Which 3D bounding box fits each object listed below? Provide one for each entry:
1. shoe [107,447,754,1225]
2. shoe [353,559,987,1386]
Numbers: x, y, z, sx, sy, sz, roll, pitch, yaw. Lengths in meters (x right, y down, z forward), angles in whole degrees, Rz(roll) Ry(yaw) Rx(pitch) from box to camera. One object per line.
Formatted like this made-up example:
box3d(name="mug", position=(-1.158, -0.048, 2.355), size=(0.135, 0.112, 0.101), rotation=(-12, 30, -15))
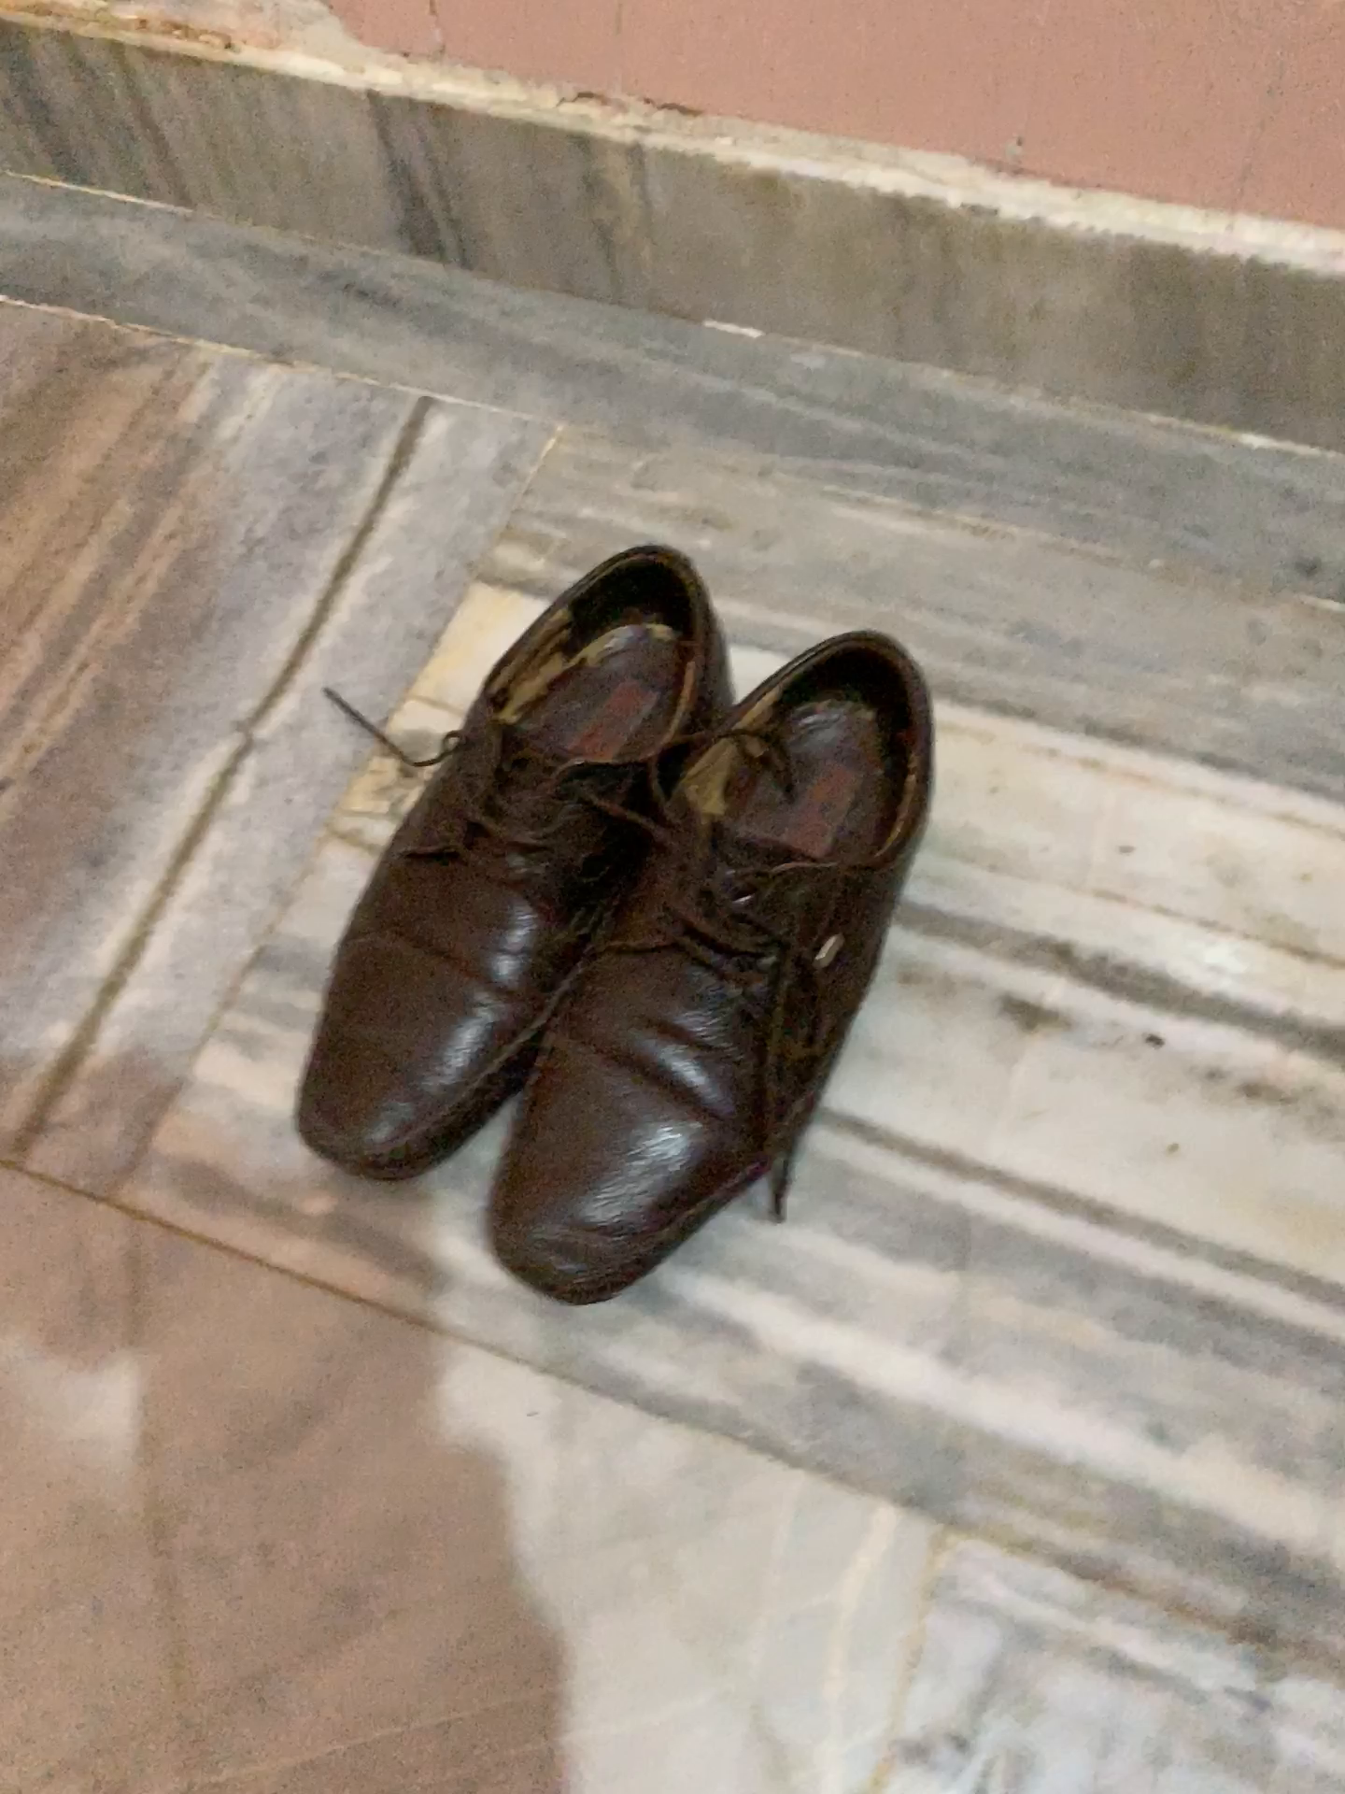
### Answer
box3d(name="shoe", position=(-0.076, -0.031, 0.552), size=(0.100, 0.110, 0.282), rotation=(24, 64, 15))
box3d(name="shoe", position=(0.011, 0.022, 0.527), size=(0.100, 0.110, 0.282), rotation=(24, 64, 15))
